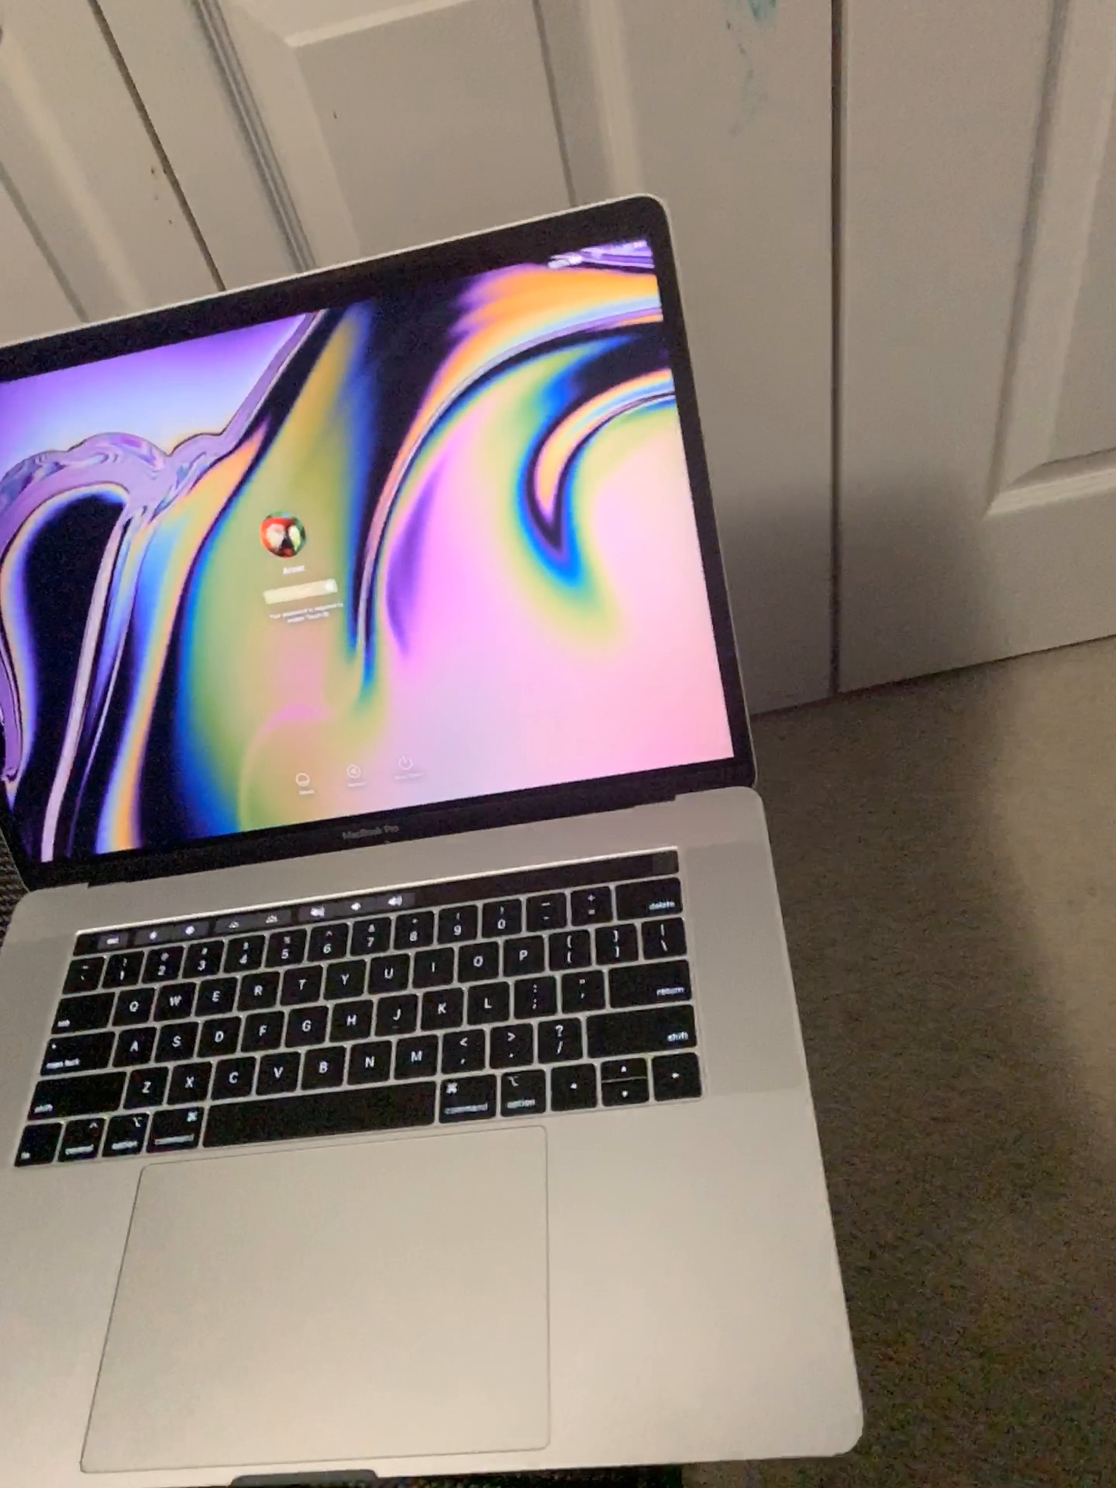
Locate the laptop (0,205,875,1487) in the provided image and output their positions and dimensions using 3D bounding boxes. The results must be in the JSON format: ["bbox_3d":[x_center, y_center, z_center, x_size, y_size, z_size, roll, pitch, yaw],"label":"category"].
[{"bbox_3d":[-0.103,0.032,0.391,0.342,0.195,0.353,-9,50,9],"label":"laptop"}]
